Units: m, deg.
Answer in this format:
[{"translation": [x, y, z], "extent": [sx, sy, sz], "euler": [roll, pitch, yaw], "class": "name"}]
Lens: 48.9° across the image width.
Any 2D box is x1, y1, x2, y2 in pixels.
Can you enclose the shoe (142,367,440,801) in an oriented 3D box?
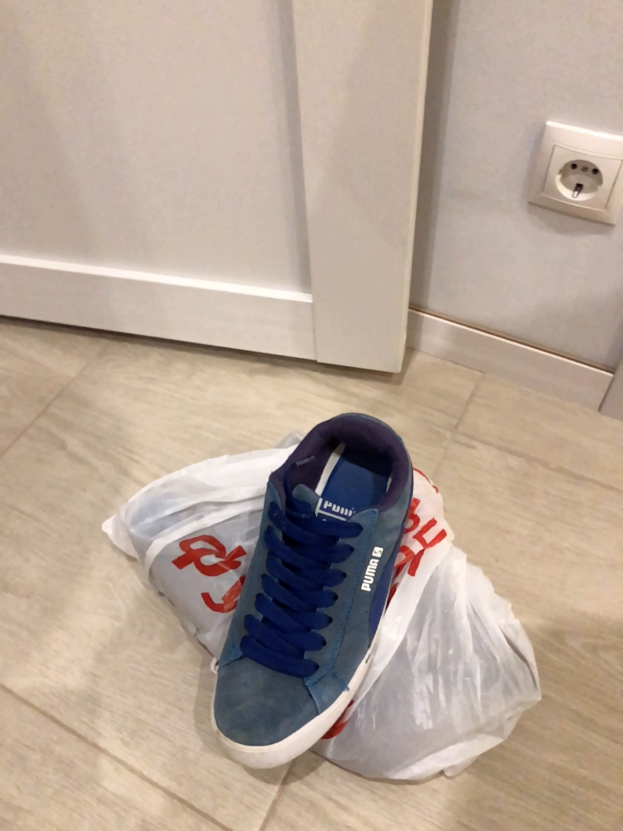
[{"translation": [0.006, 0.111, 0.538], "extent": [0.110, 0.099, 0.302], "euler": [11, 53, 21], "class": "shoe"}]
